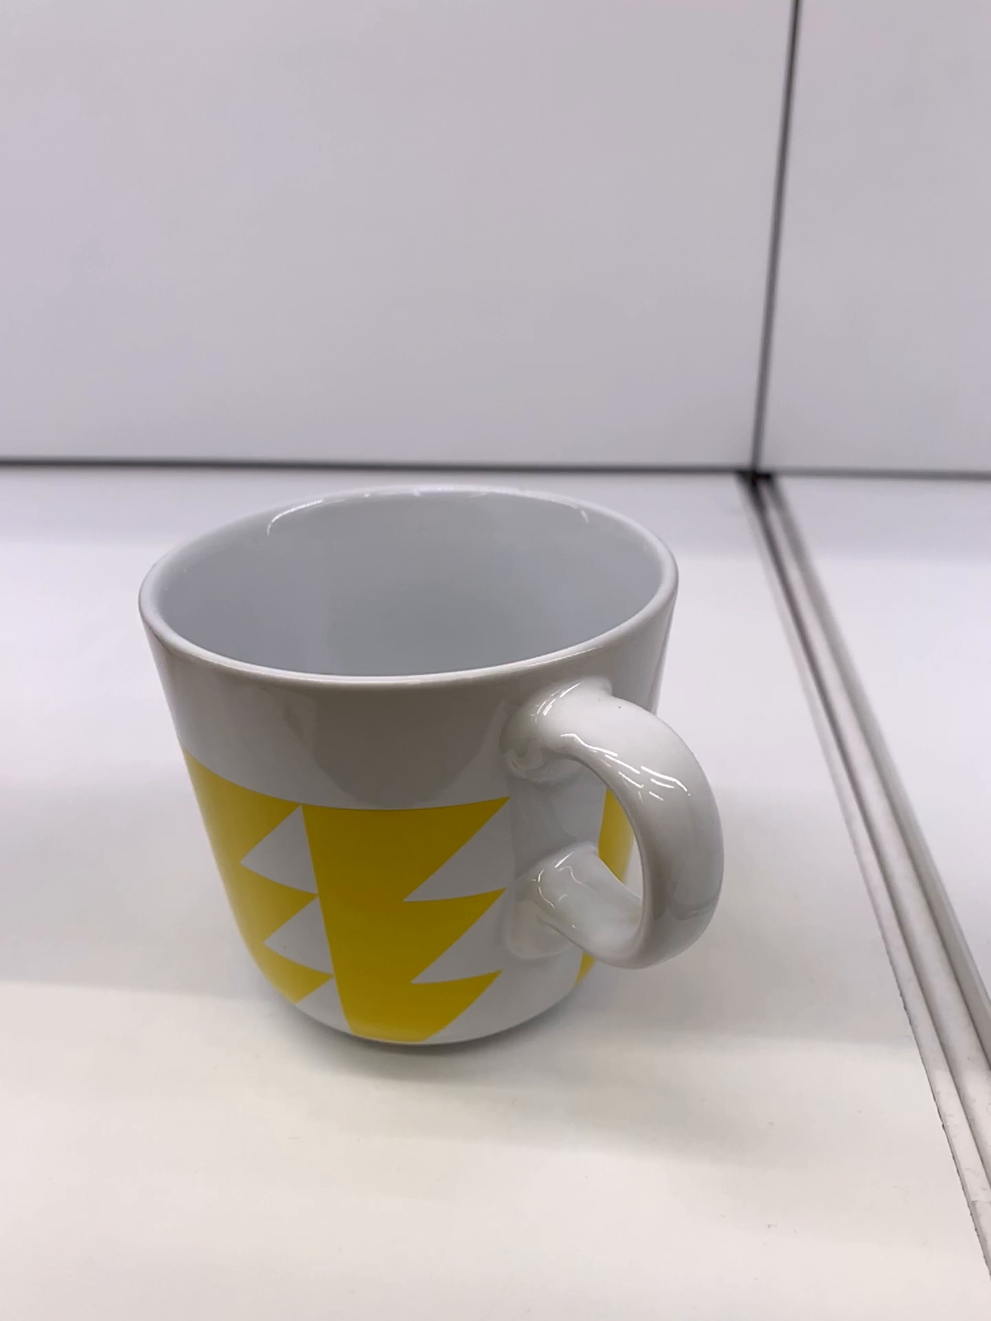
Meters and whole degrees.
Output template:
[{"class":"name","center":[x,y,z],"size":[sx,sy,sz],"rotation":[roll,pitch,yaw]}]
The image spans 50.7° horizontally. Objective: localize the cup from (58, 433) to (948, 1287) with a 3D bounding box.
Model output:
[{"class":"cup","center":[-0.006,0.012,0.167],"size":[0.084,0.065,0.107],"rotation":[-17,30,-30]}]
